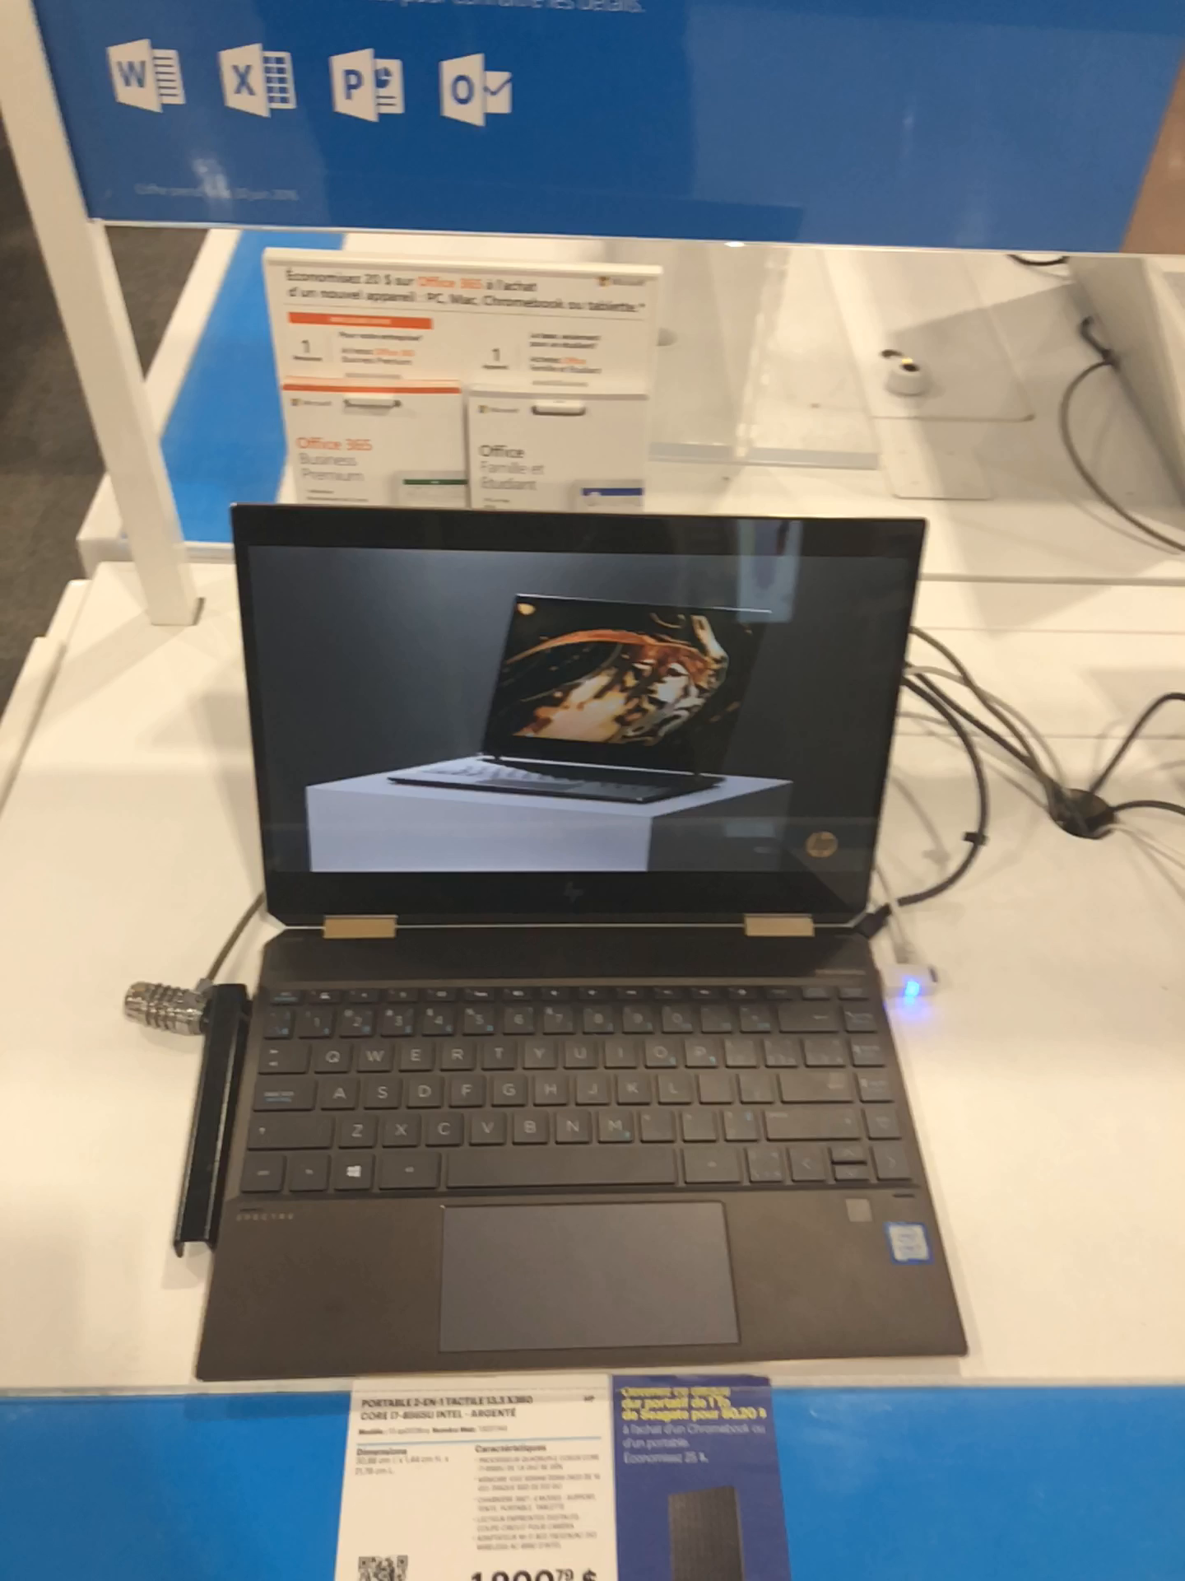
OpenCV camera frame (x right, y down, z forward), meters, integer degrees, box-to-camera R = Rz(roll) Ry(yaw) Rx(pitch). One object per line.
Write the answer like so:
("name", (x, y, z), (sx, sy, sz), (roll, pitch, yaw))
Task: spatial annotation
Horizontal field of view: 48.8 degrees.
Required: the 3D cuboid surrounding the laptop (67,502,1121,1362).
("laptop", (-0.006, 0.052, 0.538), (0.297, 0.197, 0.286), (1, 46, -4))
